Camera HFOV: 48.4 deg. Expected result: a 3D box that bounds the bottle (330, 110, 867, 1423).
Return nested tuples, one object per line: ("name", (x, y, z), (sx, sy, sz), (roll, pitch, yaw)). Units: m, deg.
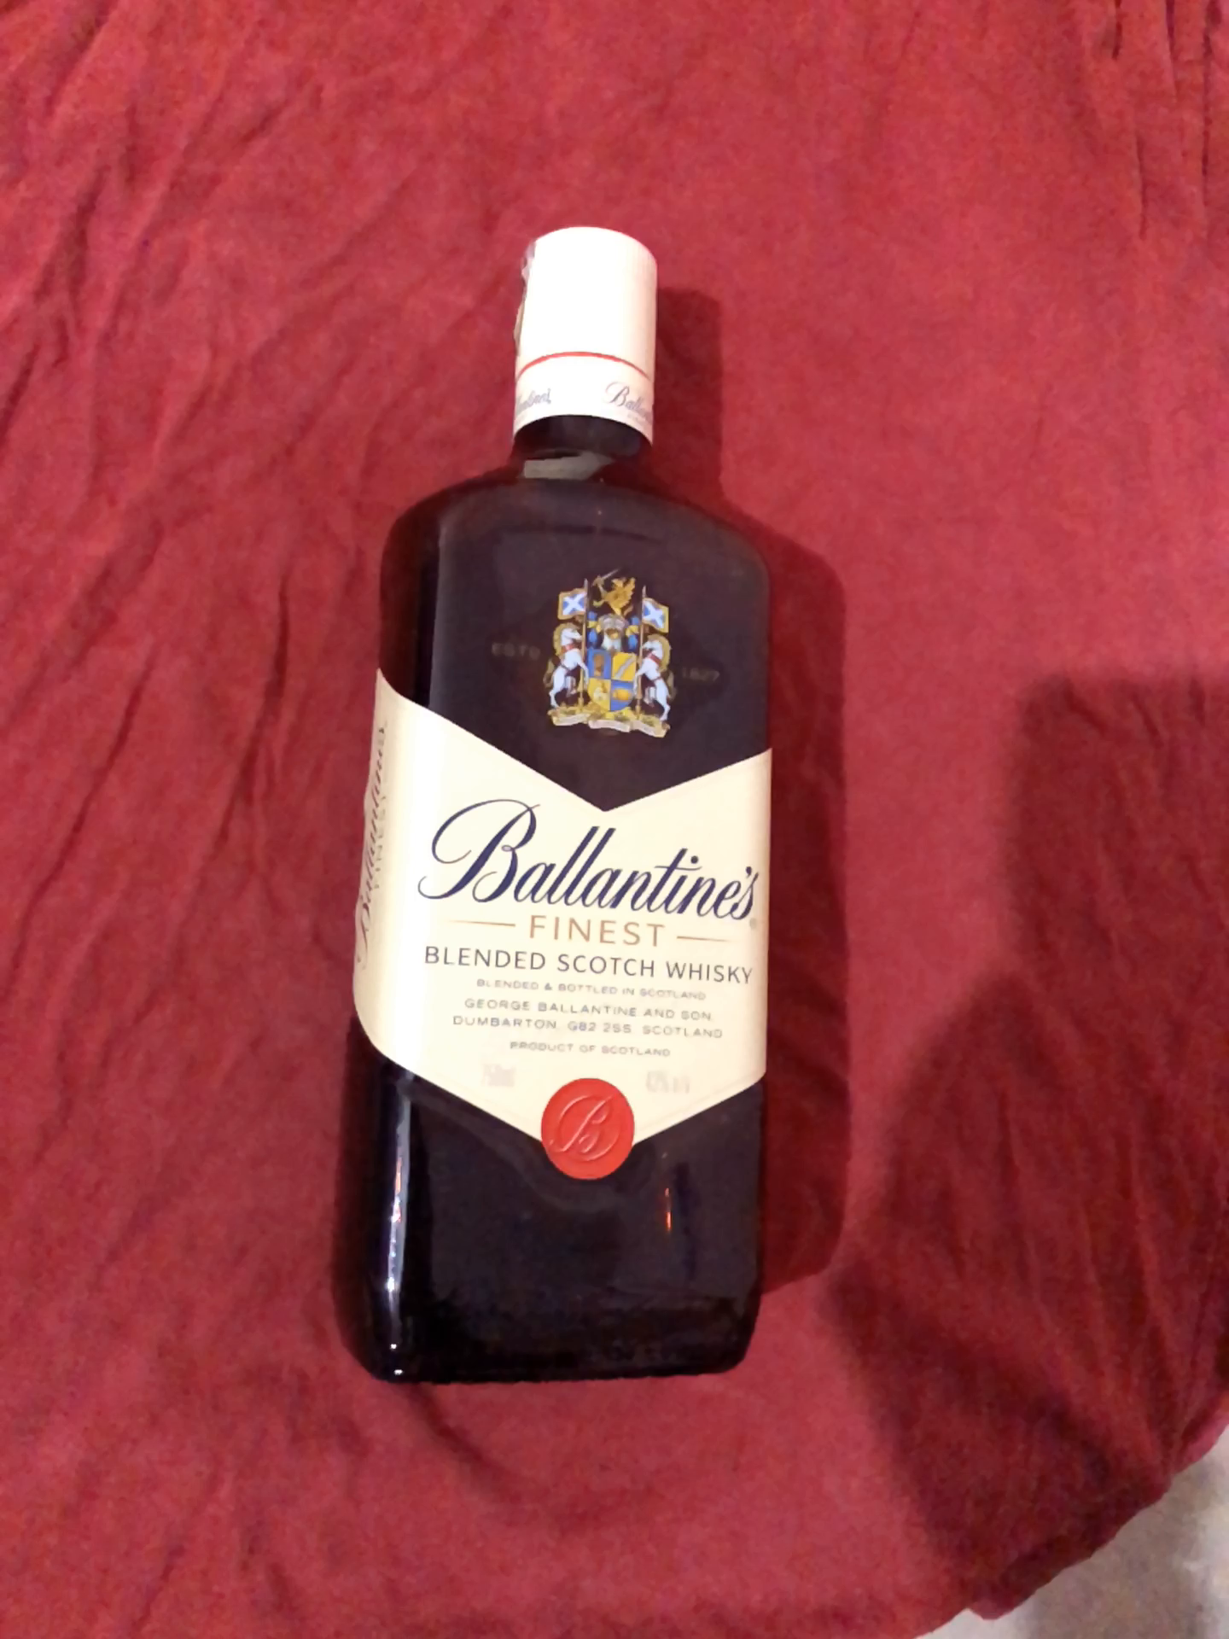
("bottle", (-0.002, -0.011, 0.296), (0.090, 0.050, 0.250), (6, 82, -21))
